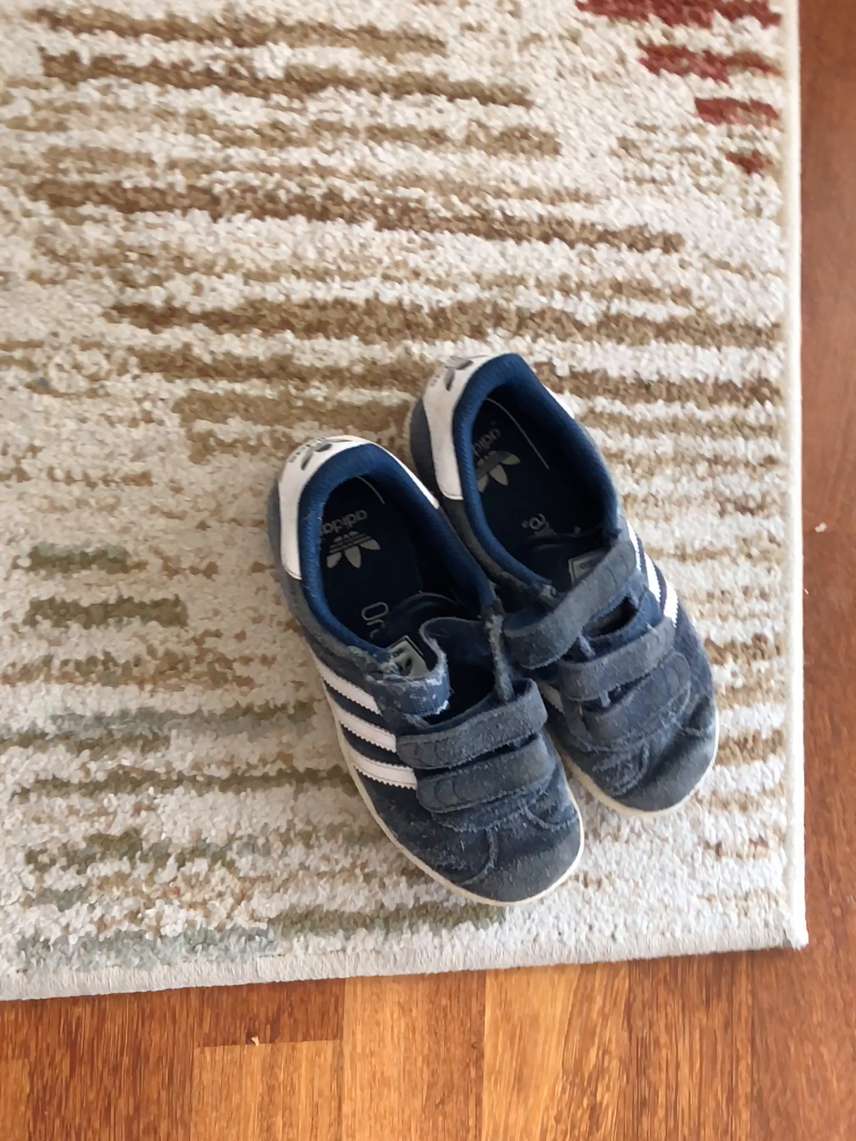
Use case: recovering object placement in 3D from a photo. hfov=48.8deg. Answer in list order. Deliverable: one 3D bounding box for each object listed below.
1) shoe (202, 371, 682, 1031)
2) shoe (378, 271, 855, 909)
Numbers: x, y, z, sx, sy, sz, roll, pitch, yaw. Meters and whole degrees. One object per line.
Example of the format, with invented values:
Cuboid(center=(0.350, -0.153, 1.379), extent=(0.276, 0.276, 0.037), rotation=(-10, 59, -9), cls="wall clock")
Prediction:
Cuboid(center=(0.003, 0.046, 0.357), extent=(0.084, 0.053, 0.216), rotation=(-27, 93, -10), cls="shoe")
Cuboid(center=(0.072, 0.008, 0.371), extent=(0.086, 0.052, 0.219), rotation=(-28, 93, -10), cls="shoe")
